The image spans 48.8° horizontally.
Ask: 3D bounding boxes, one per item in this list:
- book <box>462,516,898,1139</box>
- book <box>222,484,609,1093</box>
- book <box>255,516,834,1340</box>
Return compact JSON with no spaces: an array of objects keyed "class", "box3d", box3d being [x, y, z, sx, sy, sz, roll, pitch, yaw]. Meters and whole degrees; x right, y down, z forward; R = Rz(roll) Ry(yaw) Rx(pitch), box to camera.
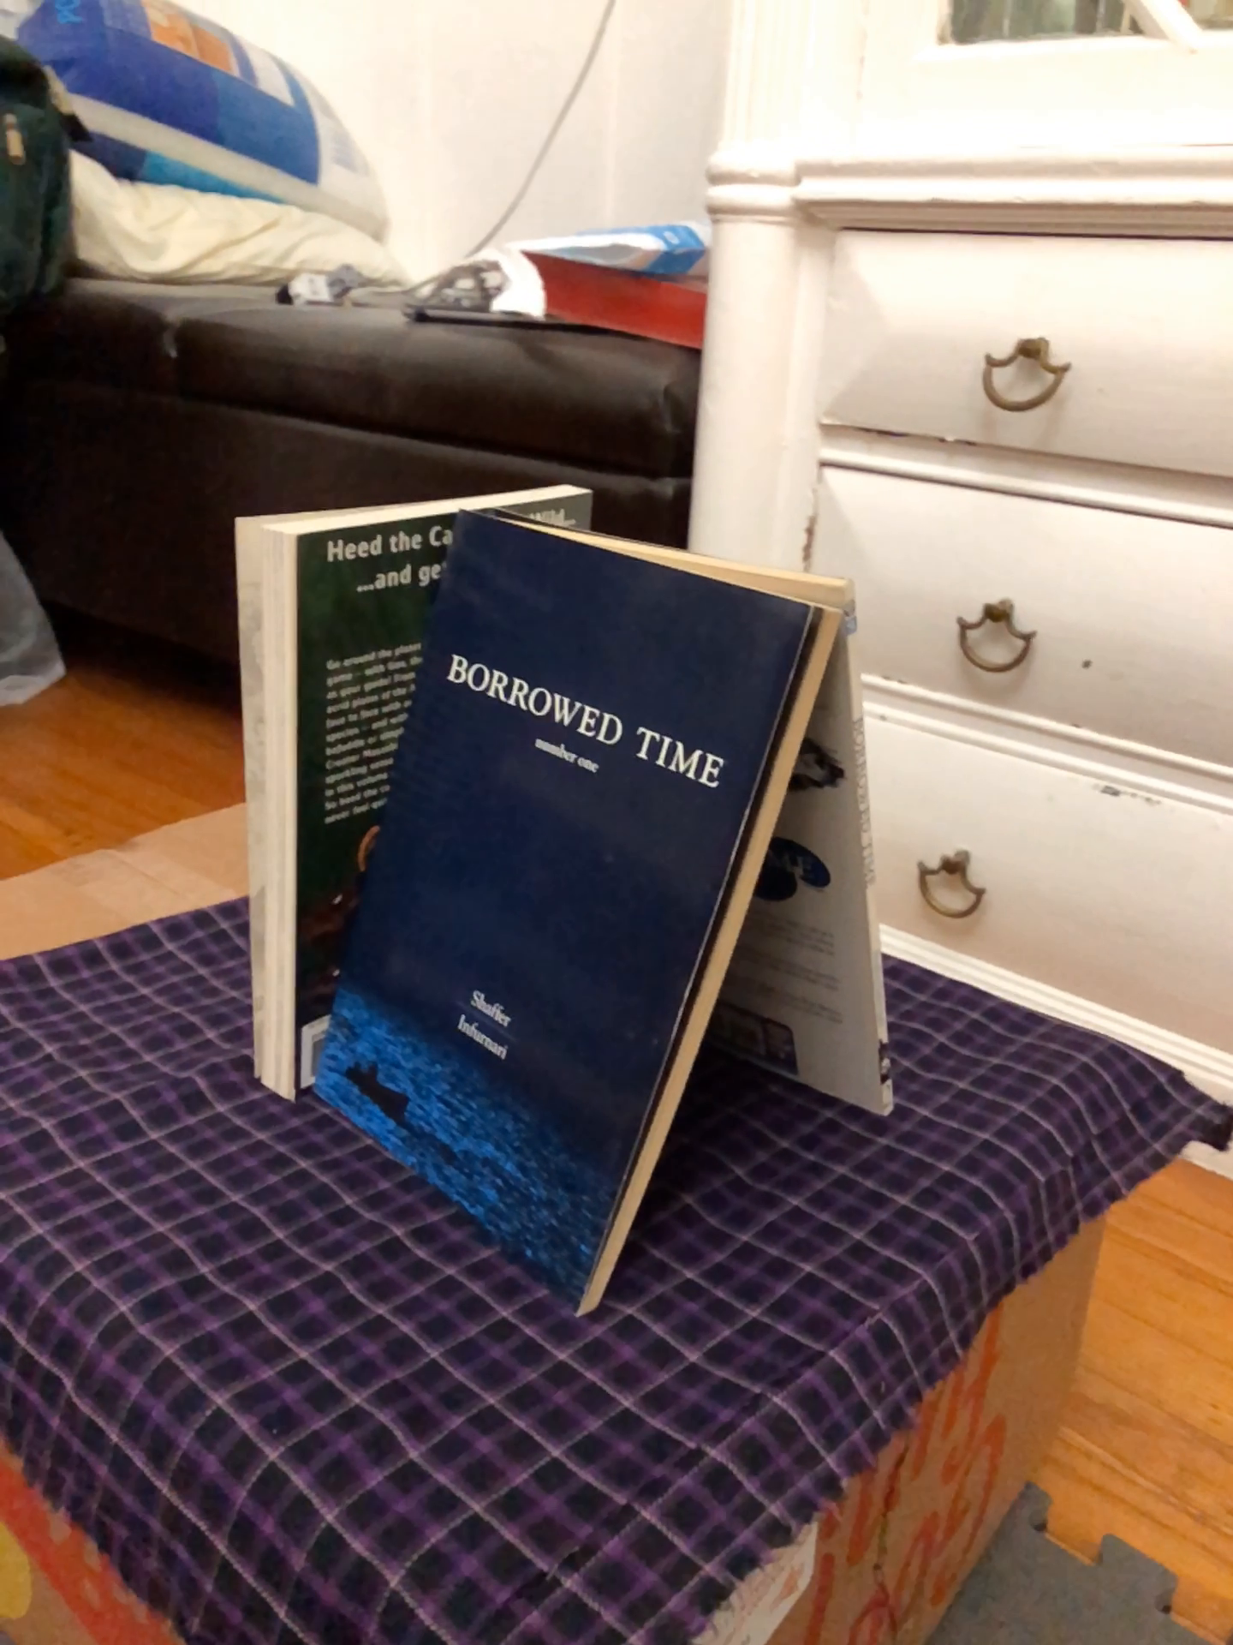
[{"class":"book","box3d":[0.023,0.004,0.446,0.140,0.199,0.010,19,44,37]},{"class":"book","box3d":[-0.068,-0.016,0.471,0.020,0.189,0.140,26,29,32]},{"class":"book","box3d":[-0.032,0.020,0.402,0.150,0.200,0.010,23,7,38]}]
